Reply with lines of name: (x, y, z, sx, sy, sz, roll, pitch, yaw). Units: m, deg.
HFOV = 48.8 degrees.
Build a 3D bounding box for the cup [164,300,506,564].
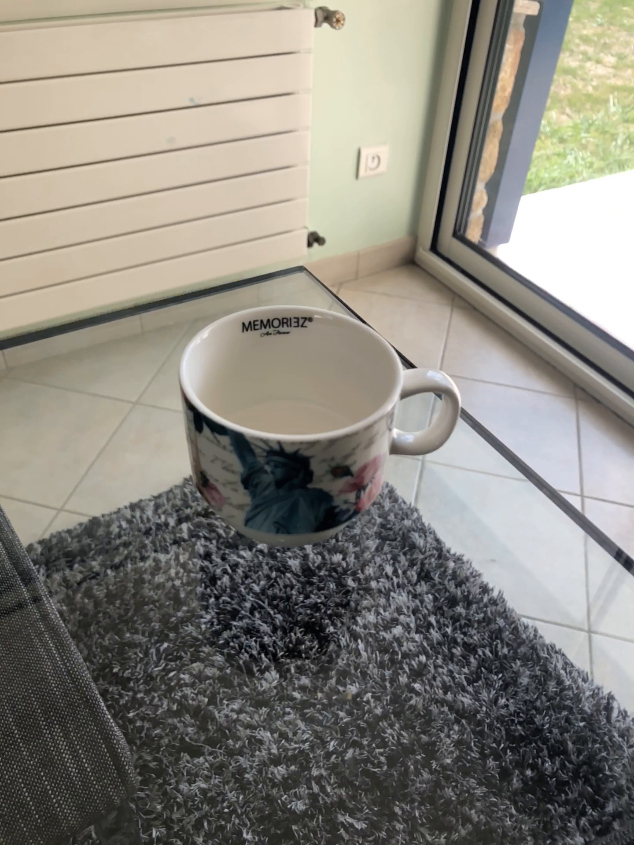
cup: (0.003, 0.001, 0.226, 0.090, 0.050, 0.070, 0, 41, -4)
